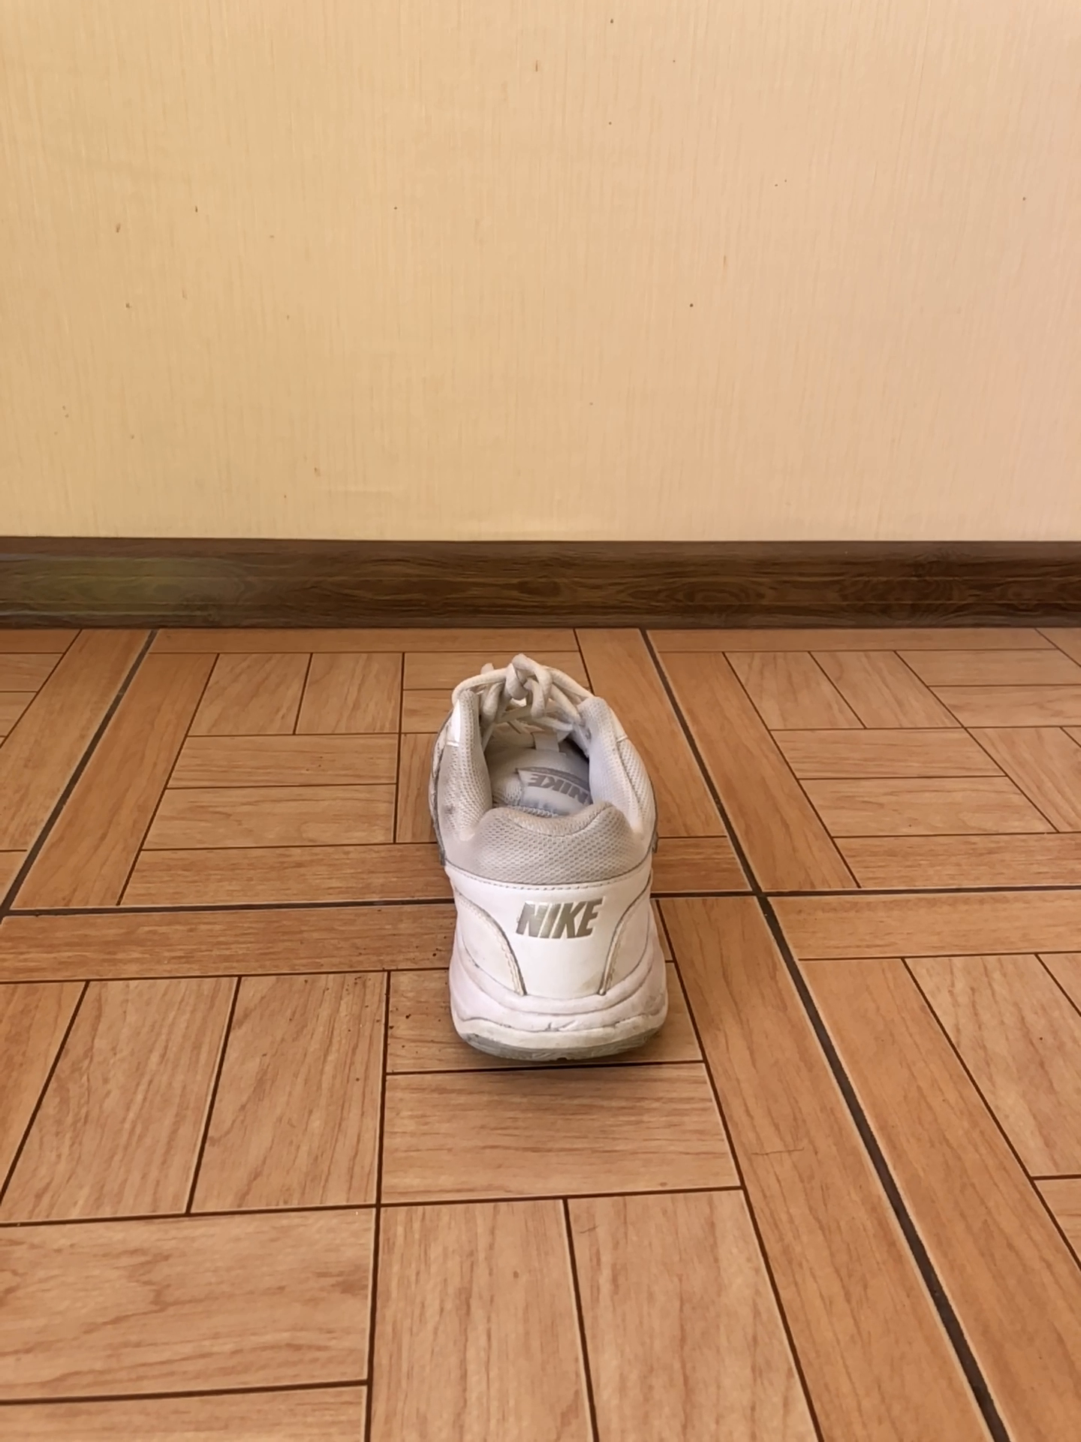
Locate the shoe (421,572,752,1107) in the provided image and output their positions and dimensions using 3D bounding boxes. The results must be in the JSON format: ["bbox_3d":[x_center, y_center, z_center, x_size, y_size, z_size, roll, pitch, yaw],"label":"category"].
[{"bbox_3d":[0.002,0.028,0.507,0.100,0.100,0.261,-1,26,-6],"label":"shoe"}]
